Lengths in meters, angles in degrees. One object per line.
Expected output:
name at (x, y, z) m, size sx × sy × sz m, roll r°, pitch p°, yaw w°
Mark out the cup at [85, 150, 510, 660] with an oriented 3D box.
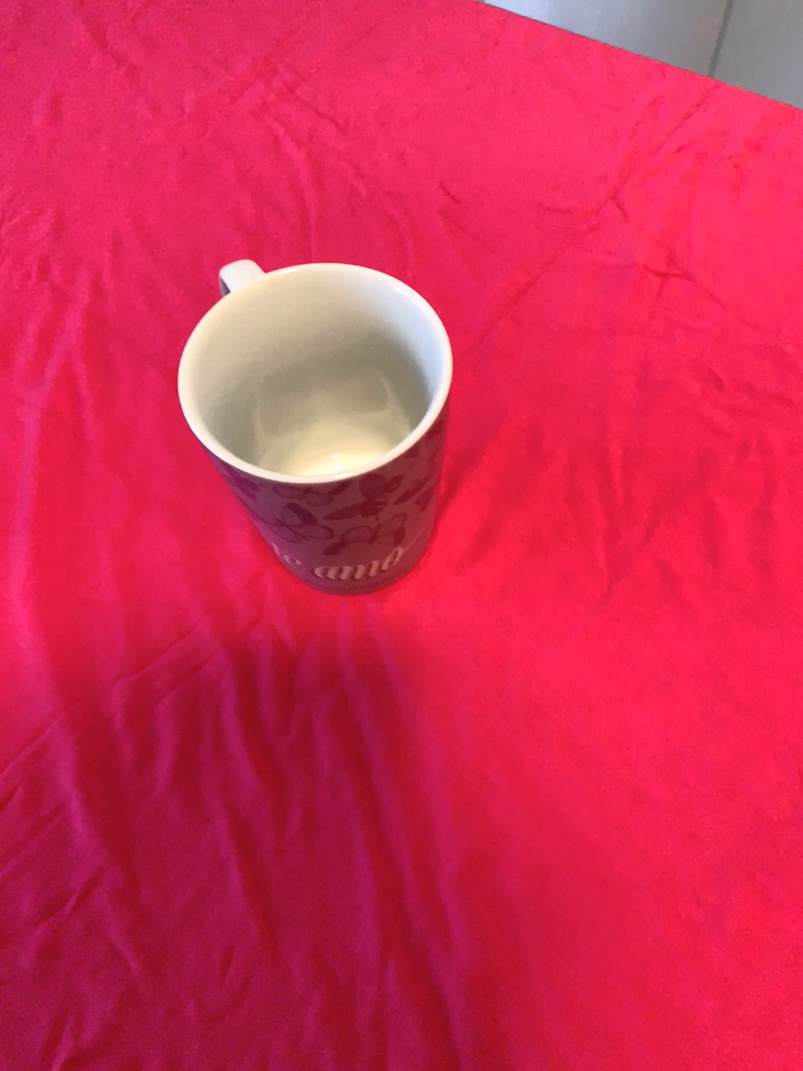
cup at (-0.031, -0.040, 0.278) m, size 0.080 × 0.100 × 0.110 m, roll -27°, pitch 64°, yaw -11°
